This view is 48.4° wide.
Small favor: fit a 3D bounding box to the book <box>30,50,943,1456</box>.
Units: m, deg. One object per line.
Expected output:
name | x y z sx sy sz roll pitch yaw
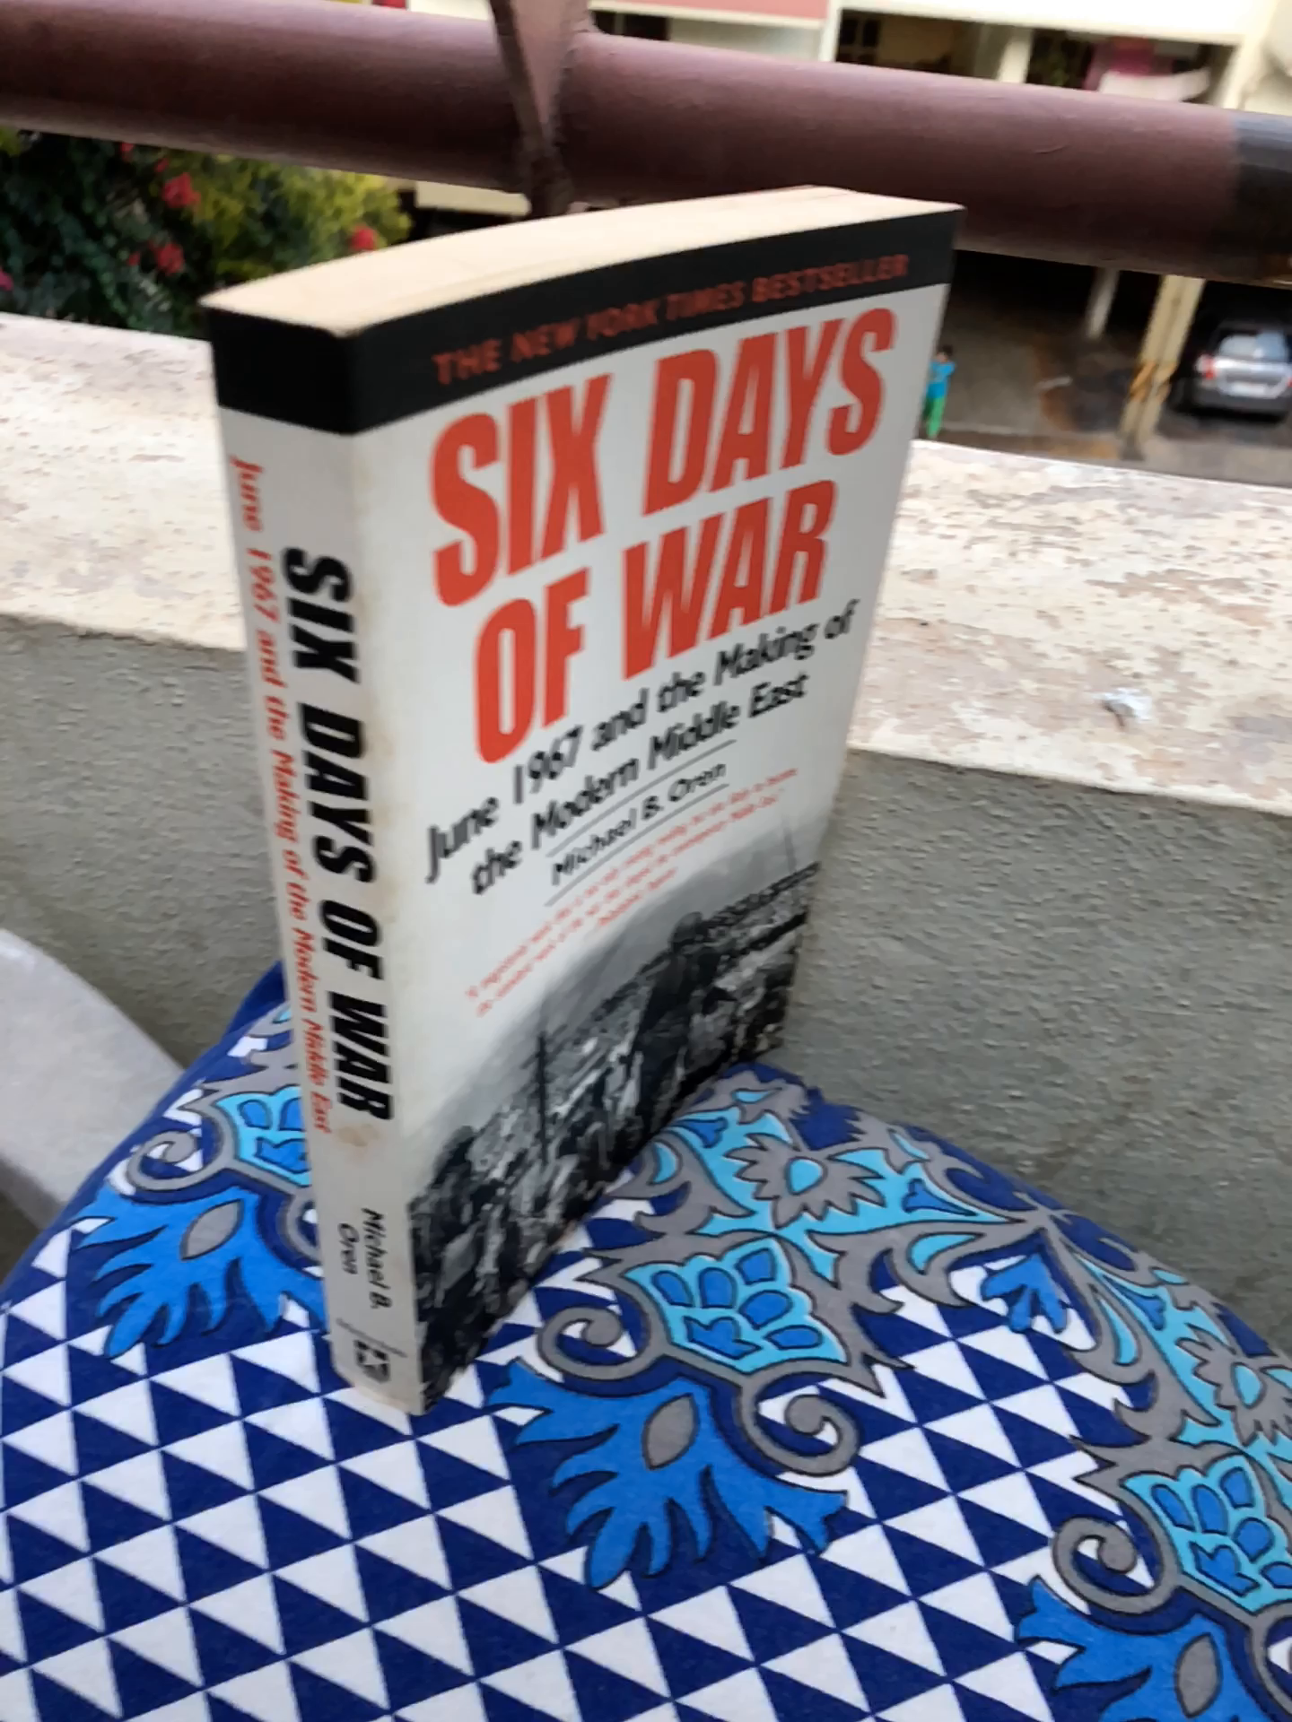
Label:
book | -0.013 -0.019 0.314 0.050 0.249 0.181 22 44 24
